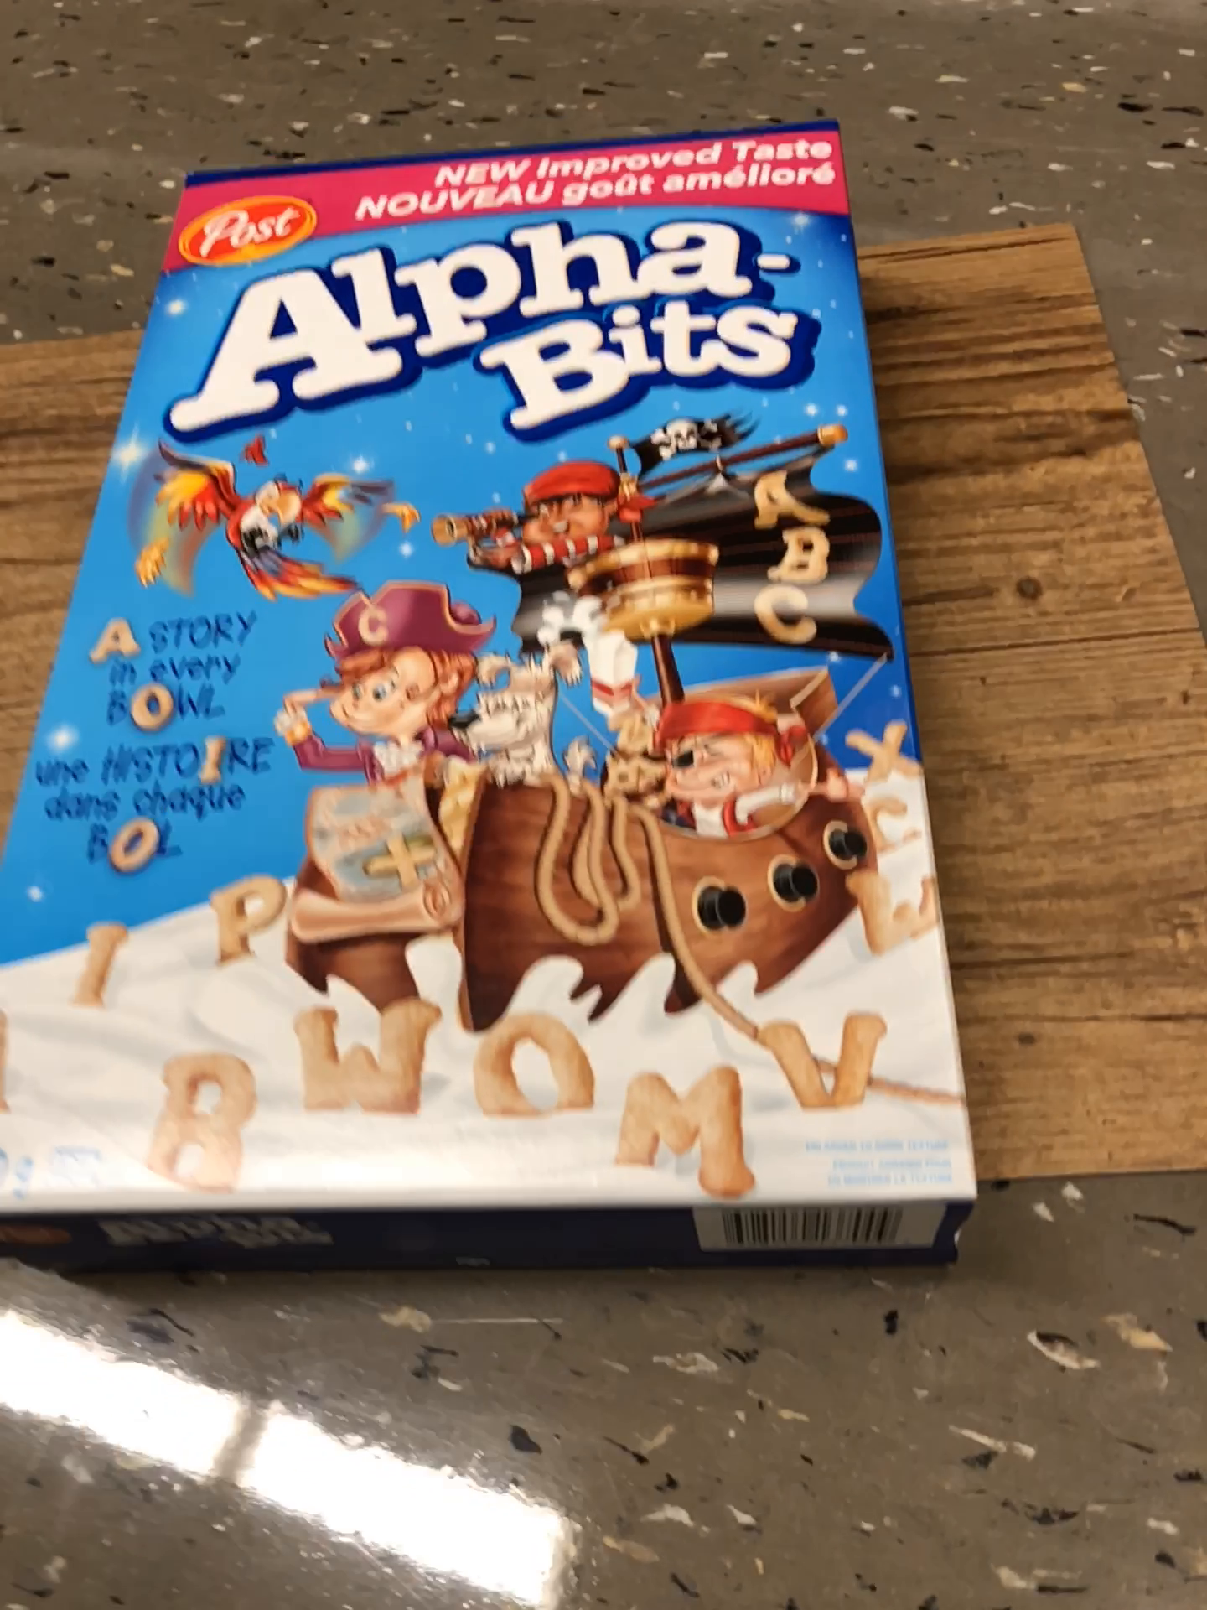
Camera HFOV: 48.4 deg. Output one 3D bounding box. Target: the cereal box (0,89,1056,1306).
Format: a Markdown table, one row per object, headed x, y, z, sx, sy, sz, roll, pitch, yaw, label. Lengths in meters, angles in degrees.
| x | y | z | sx | sy | sz | roll | pitch | yaw | label |
| --- | --- | --- | --- | --- | --- | --- | --- | --- | --- |
| -0.021 | -0.046 | 0.329 | 0.200 | 0.060 | 0.311 | -2 | 59 | 6 | cereal box |
